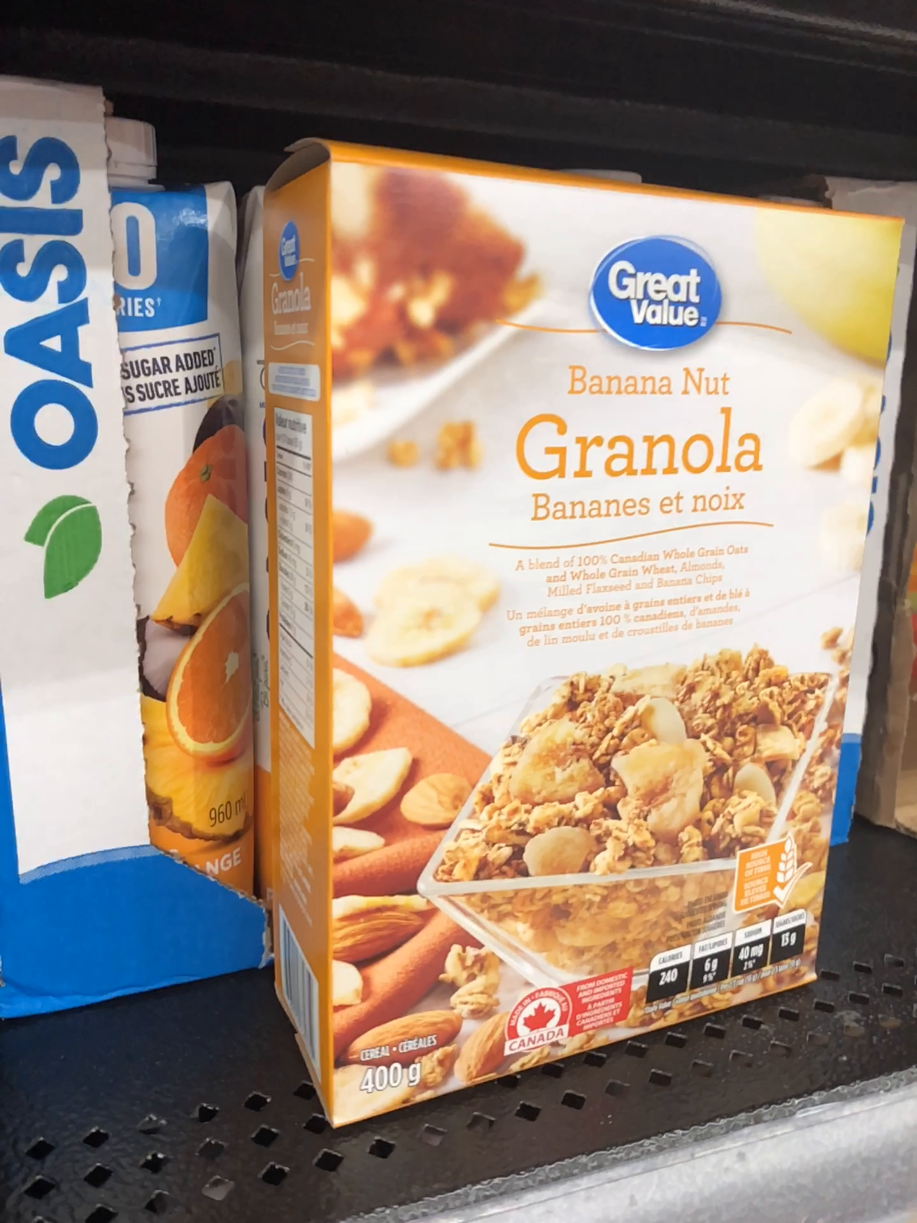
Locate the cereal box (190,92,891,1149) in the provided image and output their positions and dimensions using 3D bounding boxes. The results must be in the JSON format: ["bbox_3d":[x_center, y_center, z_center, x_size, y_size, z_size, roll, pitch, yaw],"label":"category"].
[{"bbox_3d":[0.020,0.001,0.269,0.160,0.219,0.060,-5,13,-26],"label":"cereal box"}]
